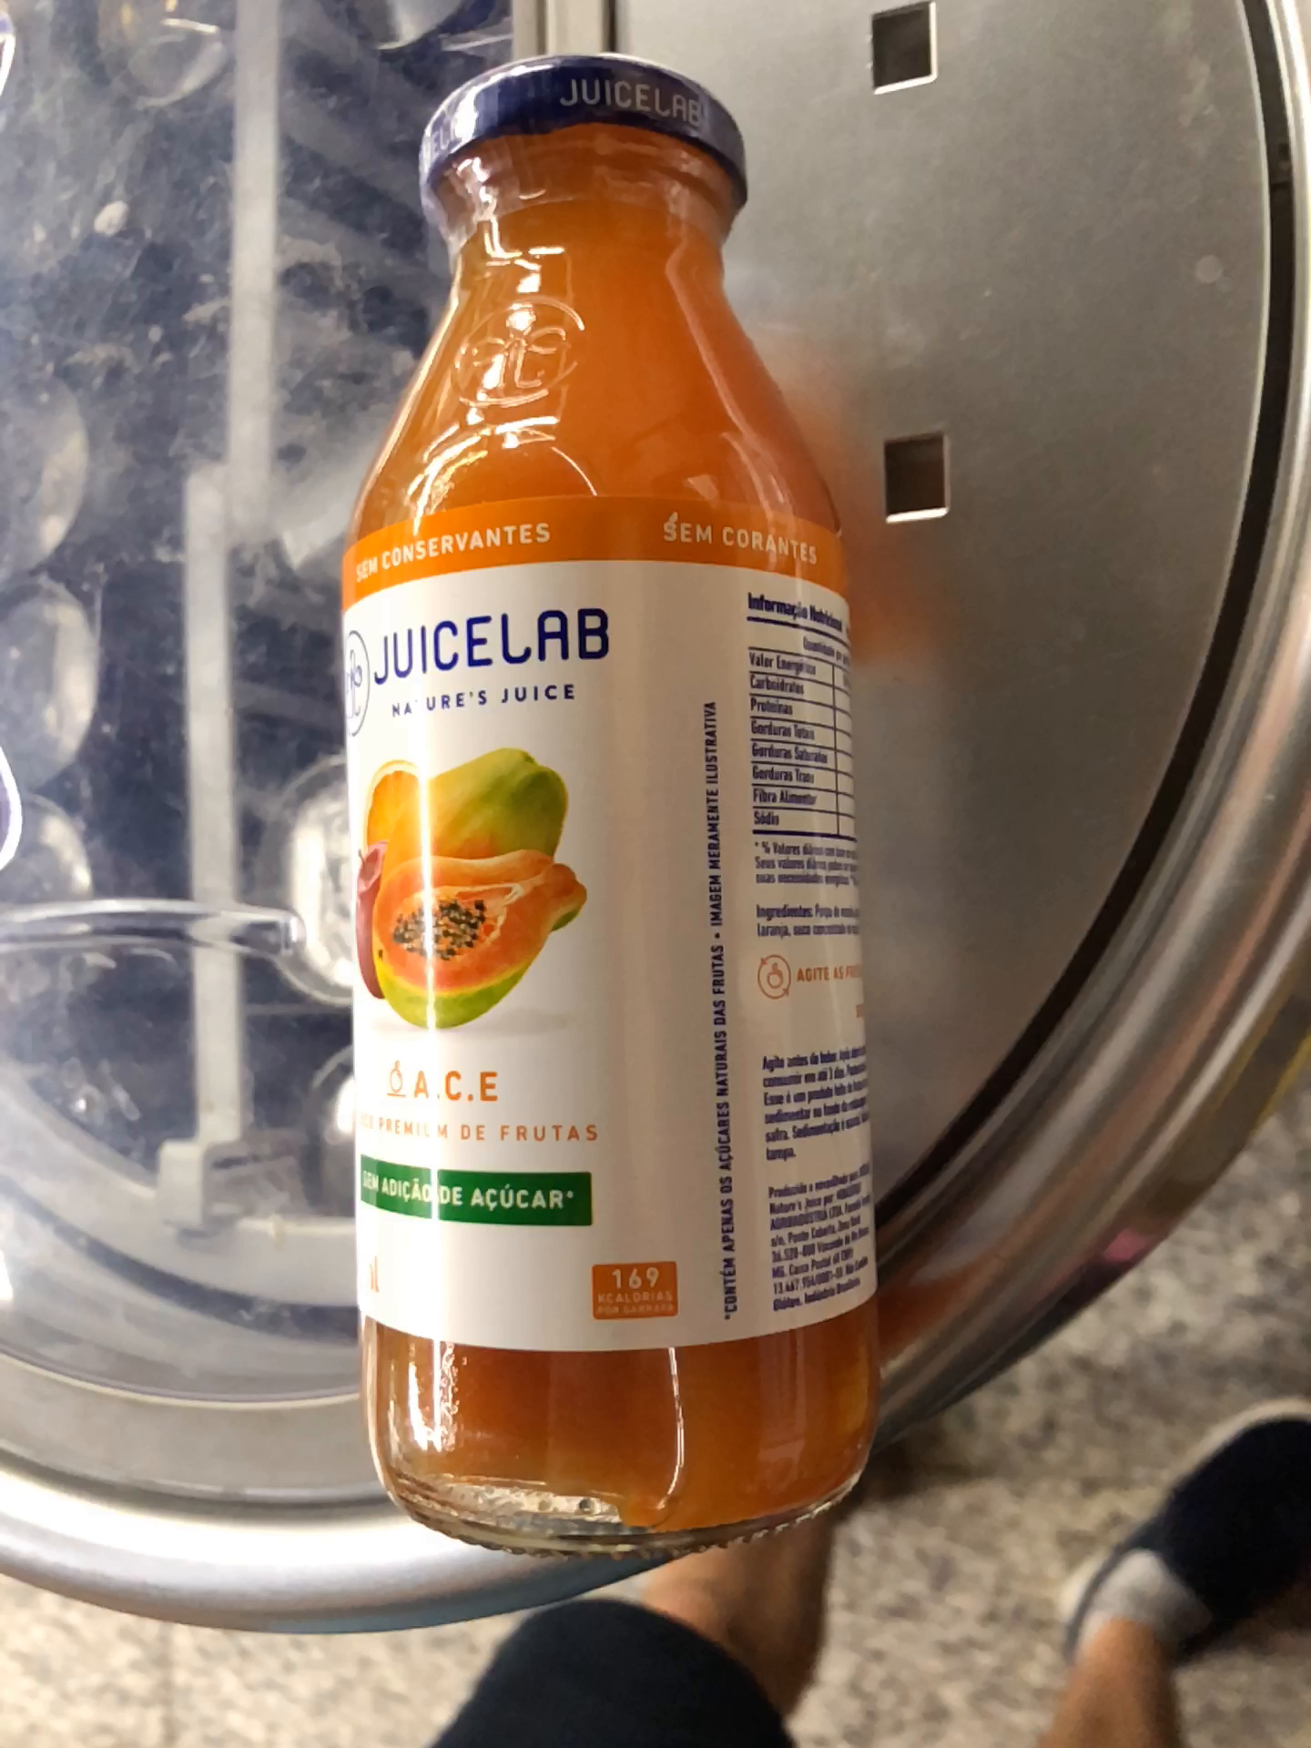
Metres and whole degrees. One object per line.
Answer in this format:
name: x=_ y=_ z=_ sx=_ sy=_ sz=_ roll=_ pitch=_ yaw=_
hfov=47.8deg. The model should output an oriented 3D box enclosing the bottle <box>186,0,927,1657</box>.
bottle: x=-0.011 y=-0.020 z=0.179 sx=0.070 sy=0.050 sz=0.190 roll=-2 pitch=89 yaw=30
